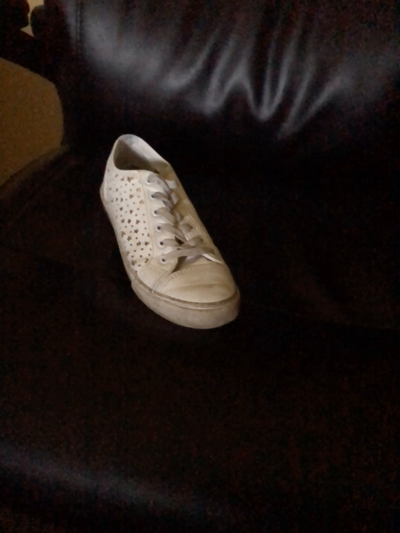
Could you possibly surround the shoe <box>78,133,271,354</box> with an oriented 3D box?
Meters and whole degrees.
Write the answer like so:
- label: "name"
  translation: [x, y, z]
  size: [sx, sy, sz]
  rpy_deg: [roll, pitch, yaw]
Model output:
- label: "shoe"
  translation: [-0.045, -0.046, 0.463]
  size: [0.100, 0.099, 0.261]
  rpy_deg: [-12, 37, -22]
